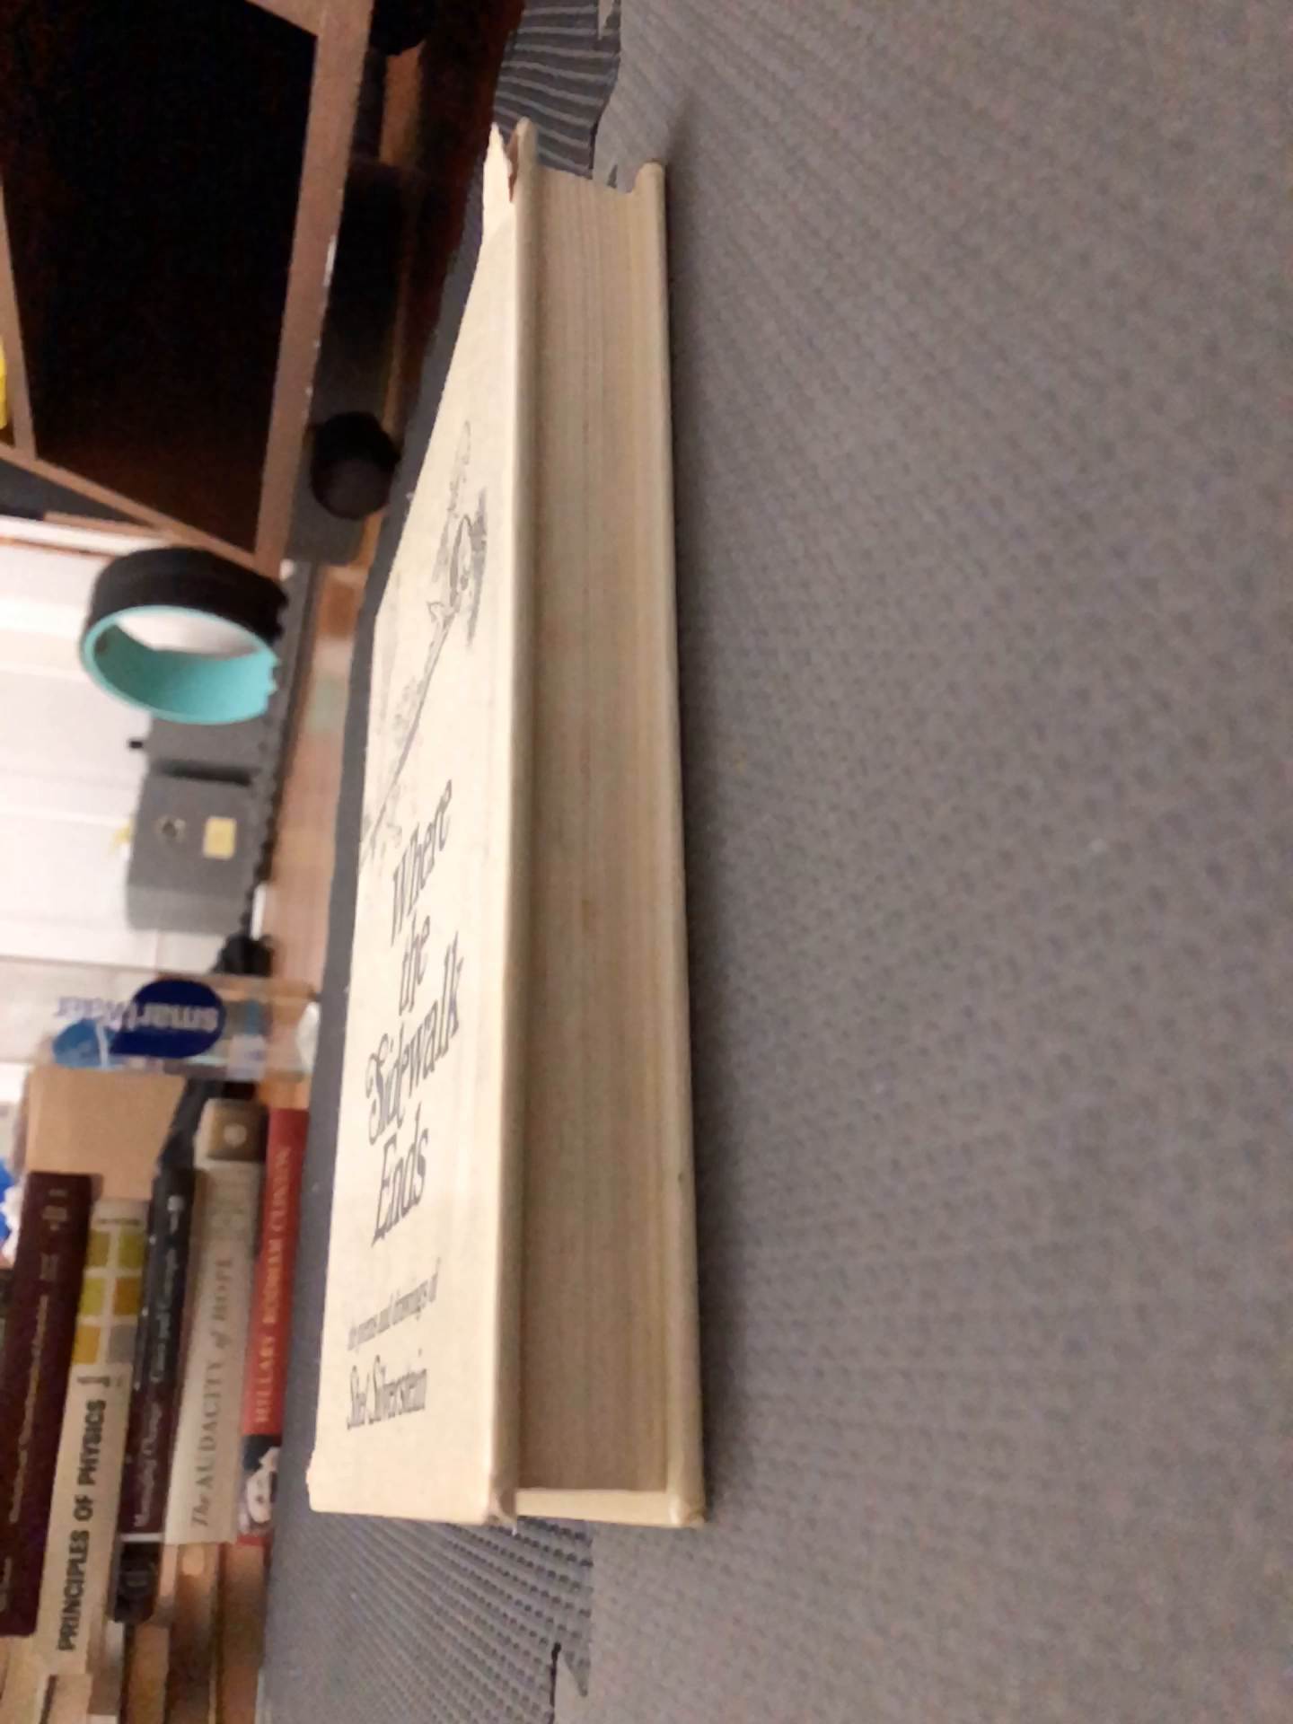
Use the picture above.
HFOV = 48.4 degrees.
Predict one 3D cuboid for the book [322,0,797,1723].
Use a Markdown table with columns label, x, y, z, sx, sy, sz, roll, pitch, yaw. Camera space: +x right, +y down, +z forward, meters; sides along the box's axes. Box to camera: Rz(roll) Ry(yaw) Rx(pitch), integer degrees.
| label | x | y | z | sx | sy | sz | roll | pitch | yaw |
| --- | --- | --- | --- | --- | --- | --- | --- | --- | --- |
| book | -0.028 | 0.001 | 0.291 | 0.200 | 0.030 | 0.280 | 129 | 145 | -62 |
